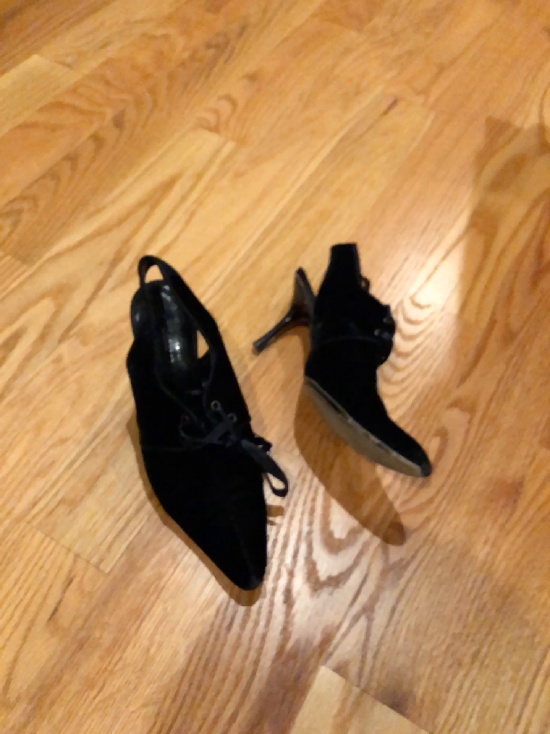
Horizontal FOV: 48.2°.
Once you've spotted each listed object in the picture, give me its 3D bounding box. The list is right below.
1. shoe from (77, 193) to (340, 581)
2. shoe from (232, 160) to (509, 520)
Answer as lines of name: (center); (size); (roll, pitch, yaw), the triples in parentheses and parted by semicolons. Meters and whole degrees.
shoe: (-0.059, 0.006, 0.467); (0.107, 0.117, 0.253); (-16, 59, -14)
shoe: (0.054, -0.031, 0.487); (0.118, 0.107, 0.253); (-12, 58, -10)
